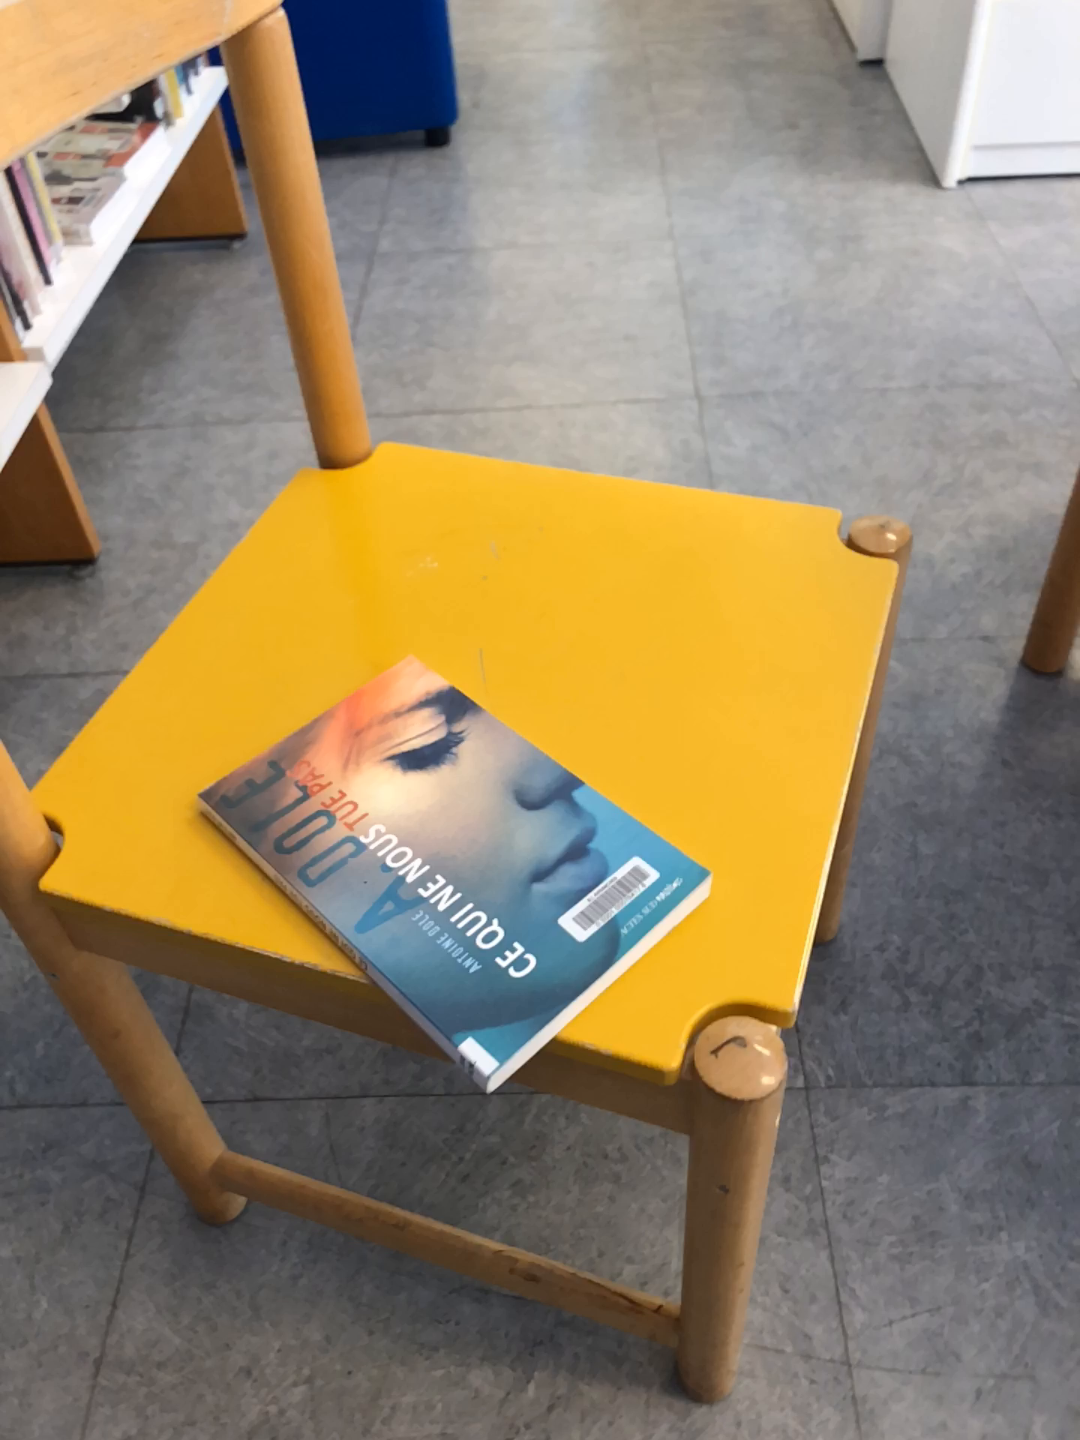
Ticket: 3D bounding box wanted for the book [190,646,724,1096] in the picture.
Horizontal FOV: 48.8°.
[{"bbox_3d":[-0.043,0.054,0.549,0.141,0.016,0.212,-36,53,-27],"label":"book"}]
